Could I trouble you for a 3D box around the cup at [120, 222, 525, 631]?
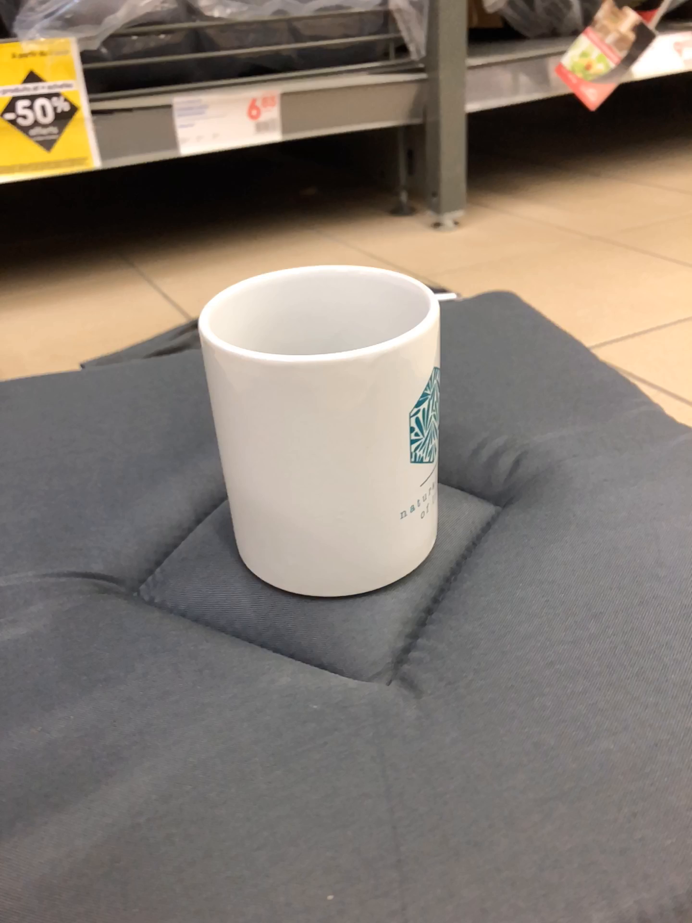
[{"bbox_3d":[0.003,-0.025,0.287,0.090,0.089,0.131,11,34,24],"label":"cup"}]
